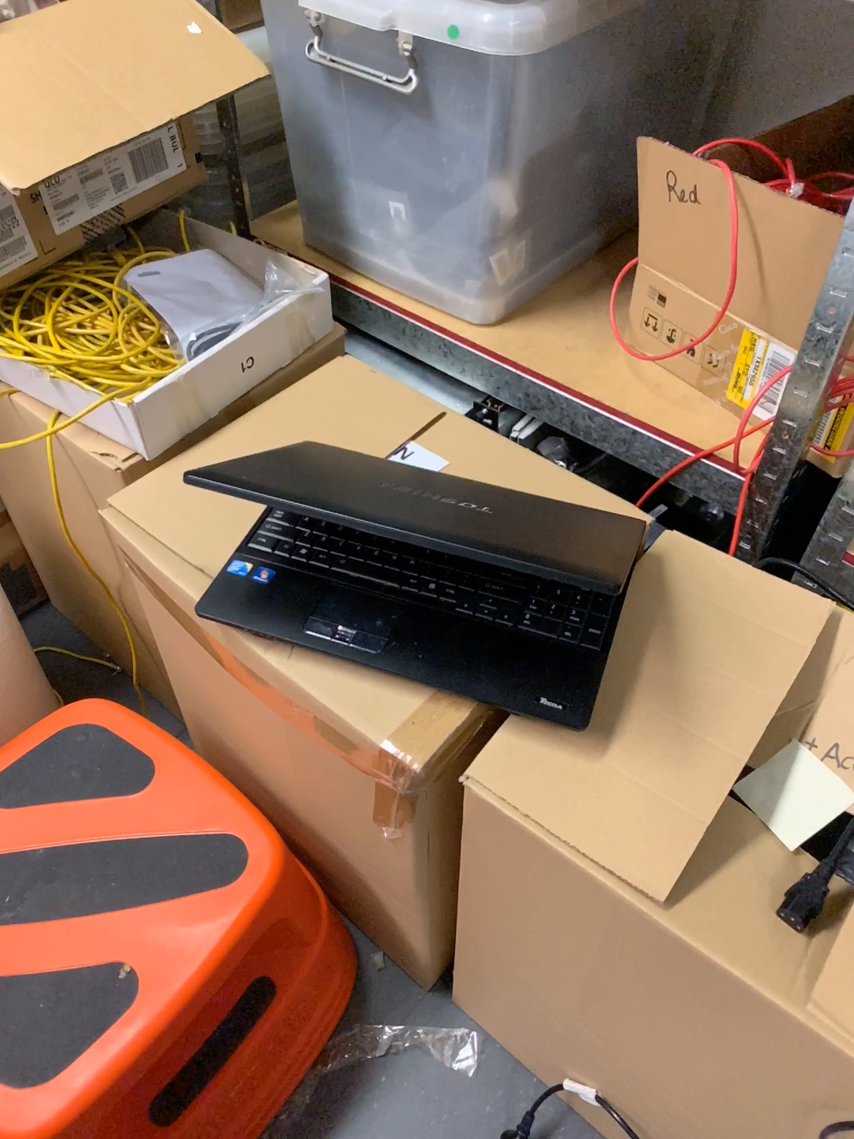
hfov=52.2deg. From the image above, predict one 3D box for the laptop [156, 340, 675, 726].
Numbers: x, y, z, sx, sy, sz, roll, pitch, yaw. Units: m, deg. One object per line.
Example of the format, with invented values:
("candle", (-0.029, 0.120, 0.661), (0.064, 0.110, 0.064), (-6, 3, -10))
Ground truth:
("laptop", (0.000, -0.044, 0.763), (0.354, 0.135, 0.232), (15, 51, 12))
